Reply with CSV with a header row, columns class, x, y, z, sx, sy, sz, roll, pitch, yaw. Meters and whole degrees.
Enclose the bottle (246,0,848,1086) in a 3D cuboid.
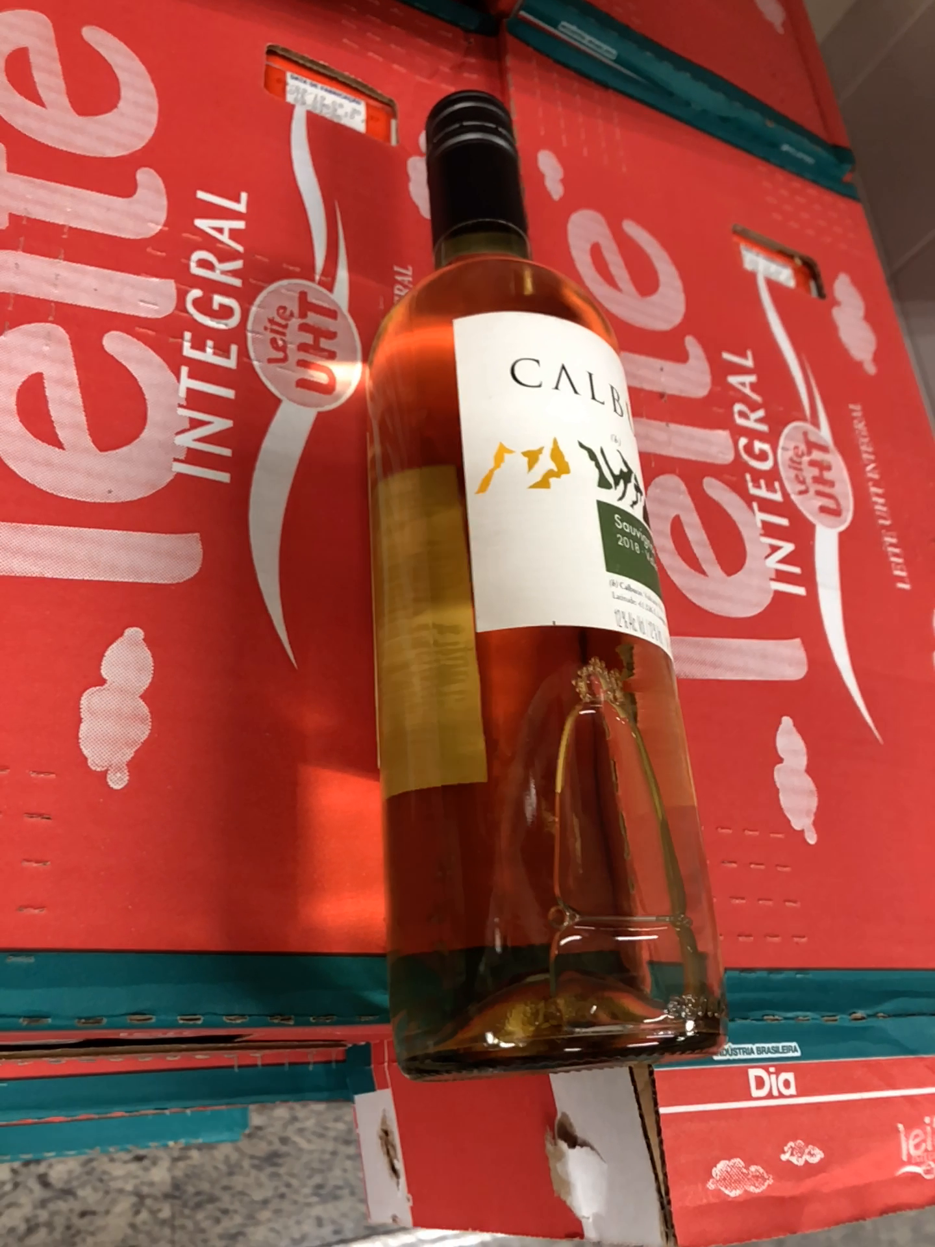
class,x,y,z,sx,sy,sz,roll,pitch,yaw
bottle,0.015,-0.040,0.277,0.090,0.100,0.291,35,46,-56
